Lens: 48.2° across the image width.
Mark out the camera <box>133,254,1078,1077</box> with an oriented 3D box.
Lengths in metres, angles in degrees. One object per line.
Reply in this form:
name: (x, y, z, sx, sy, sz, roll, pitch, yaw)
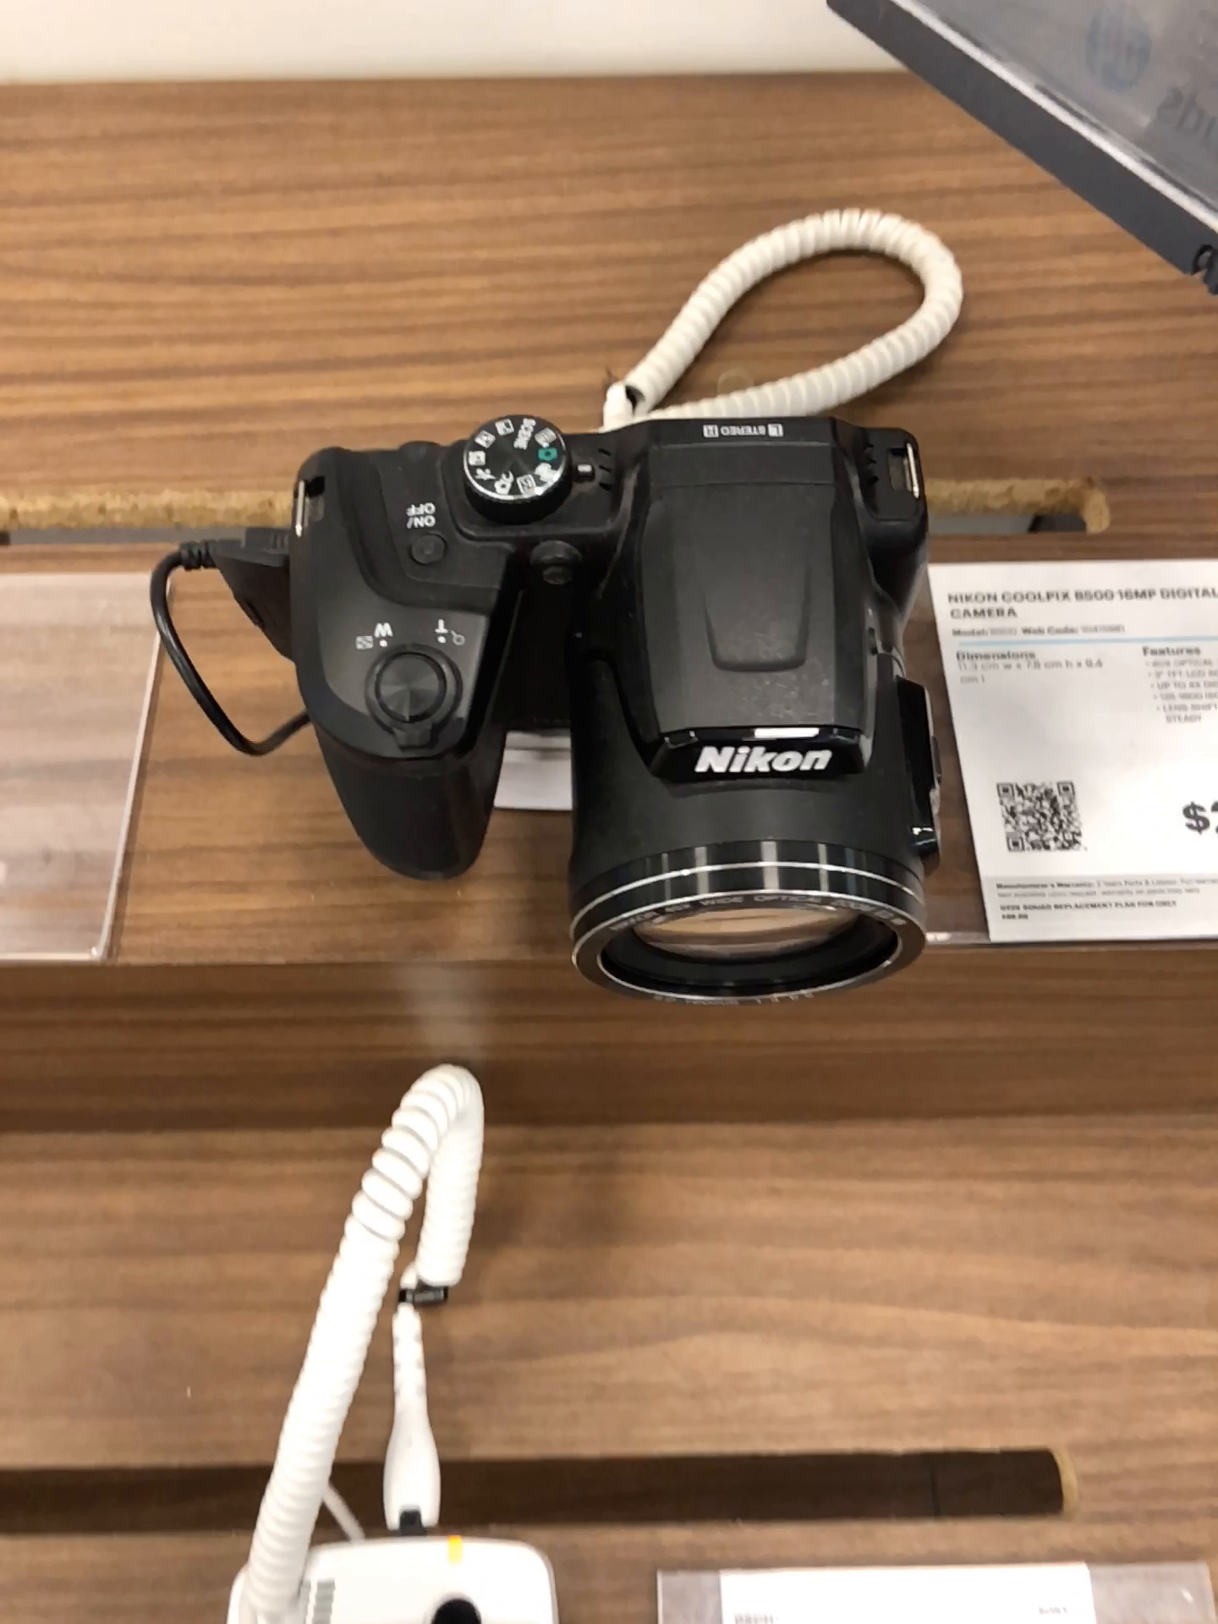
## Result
camera: (-0.003, -0.027, 0.249, 0.130, 0.070, 0.130, -2, 61, -1)
